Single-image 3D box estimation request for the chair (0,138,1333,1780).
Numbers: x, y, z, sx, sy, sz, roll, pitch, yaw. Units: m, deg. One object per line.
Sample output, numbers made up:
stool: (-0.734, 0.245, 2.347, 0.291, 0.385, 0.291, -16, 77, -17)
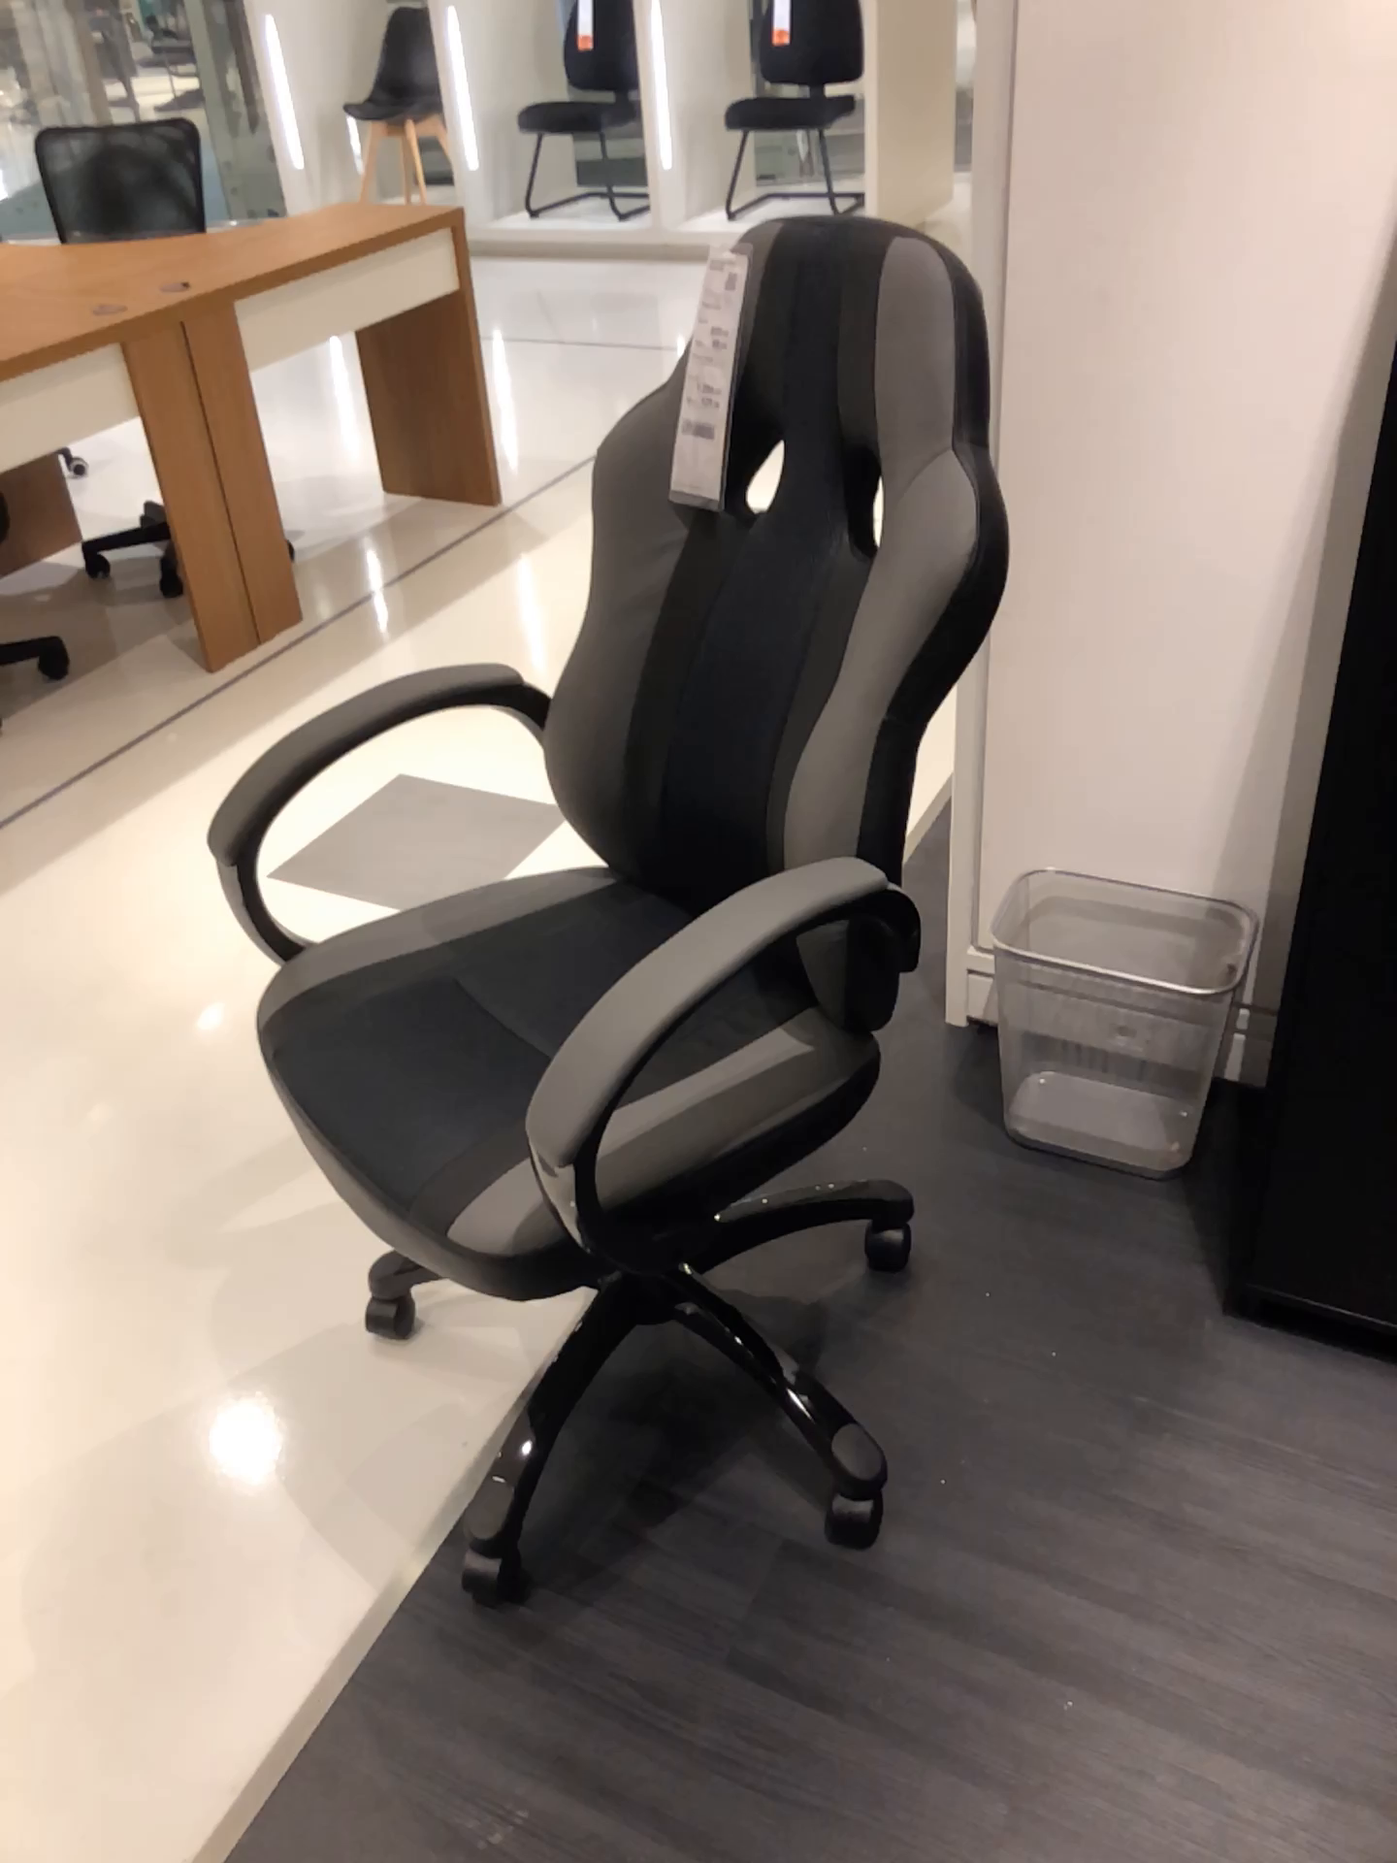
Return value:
chair: (-0.040, -0.030, 1.459, 0.782, 1.161, 0.713, -25, 39, -28)
